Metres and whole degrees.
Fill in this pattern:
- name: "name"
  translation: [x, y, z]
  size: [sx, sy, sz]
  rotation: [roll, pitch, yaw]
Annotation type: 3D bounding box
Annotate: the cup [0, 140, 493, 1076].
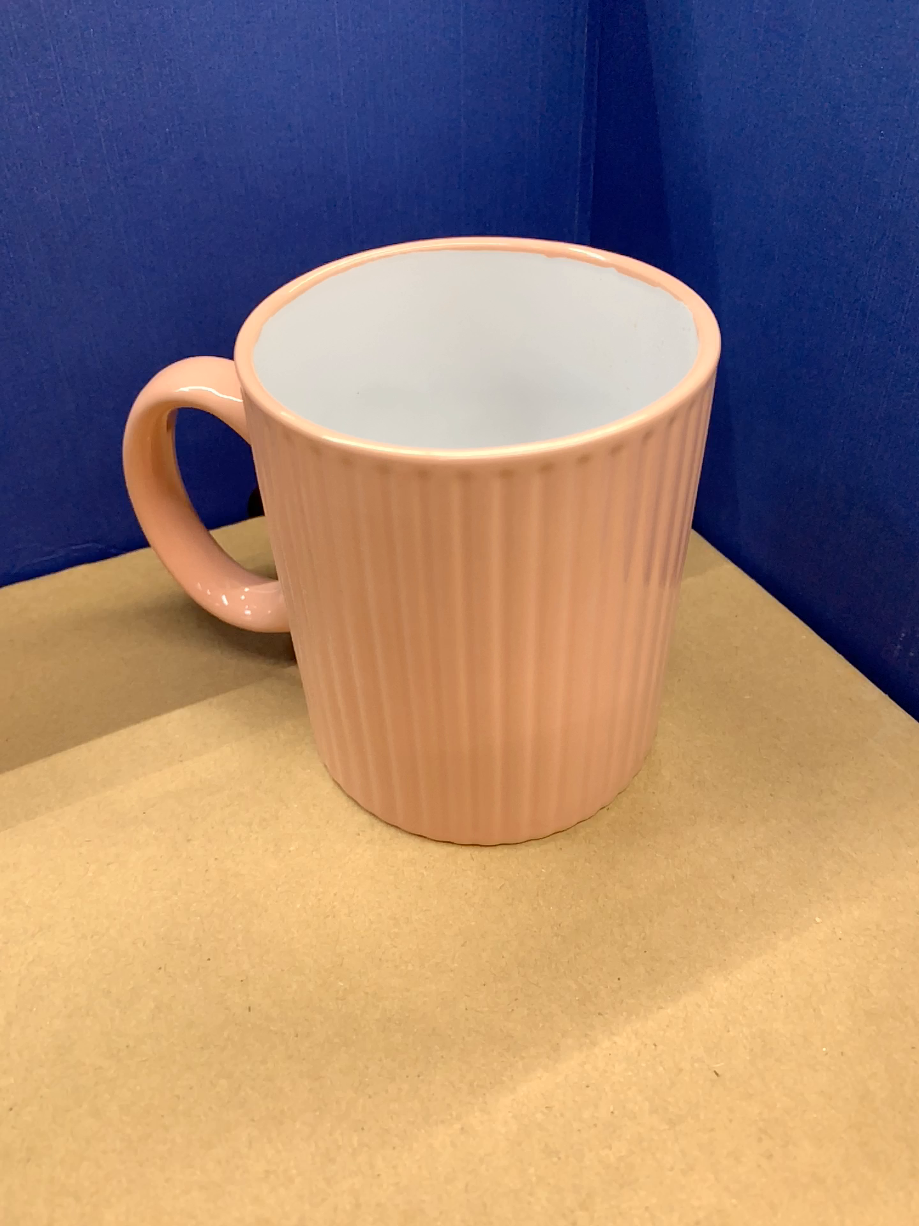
- name: "cup"
  translation: [-0.083, -0.016, 0.187]
  size: [0.155, 0.128, 0.102]
  rotation: [9, 32, 16]
